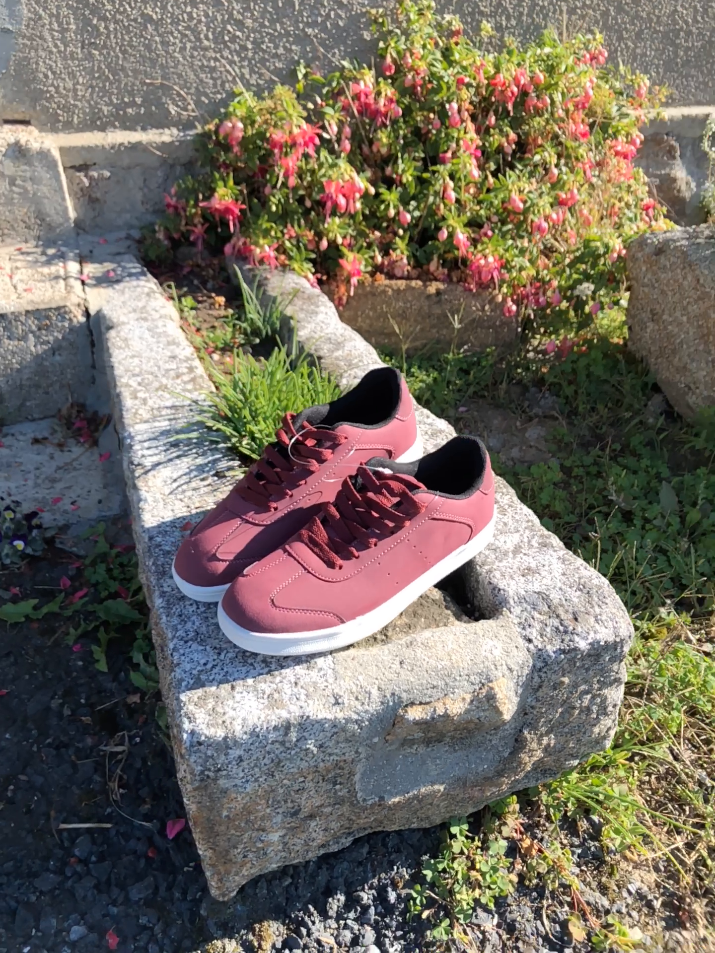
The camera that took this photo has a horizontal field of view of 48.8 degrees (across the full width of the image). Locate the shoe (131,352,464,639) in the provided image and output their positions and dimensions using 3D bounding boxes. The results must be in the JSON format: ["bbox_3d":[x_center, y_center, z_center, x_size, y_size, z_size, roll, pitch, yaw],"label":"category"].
[{"bbox_3d":[-0.037,0.002,0.646,0.261,0.080,0.100,-36,45,-29],"label":"shoe"}]

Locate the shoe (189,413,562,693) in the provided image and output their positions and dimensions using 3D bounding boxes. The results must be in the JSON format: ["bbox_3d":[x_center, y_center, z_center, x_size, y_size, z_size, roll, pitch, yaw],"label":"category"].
[{"bbox_3d":[0.021,0.042,0.580,0.261,0.080,0.100,-21,37,-33],"label":"shoe"}]
